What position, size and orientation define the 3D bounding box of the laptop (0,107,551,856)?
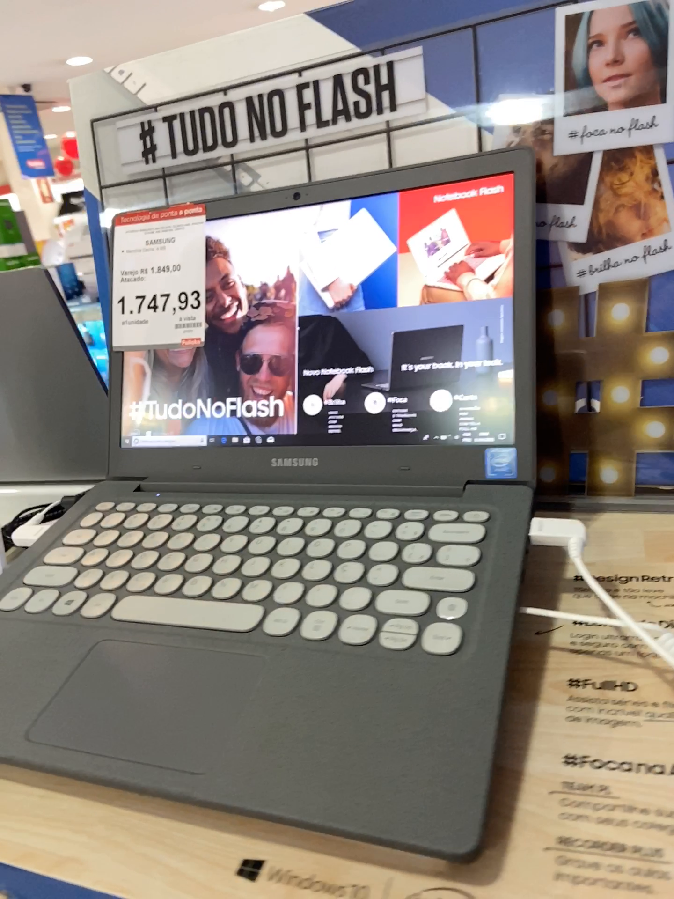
[{"bbox_3d":[-0.065,-0.037,0.400,0.322,0.181,0.346,-2,30,23],"label":"laptop"}]
